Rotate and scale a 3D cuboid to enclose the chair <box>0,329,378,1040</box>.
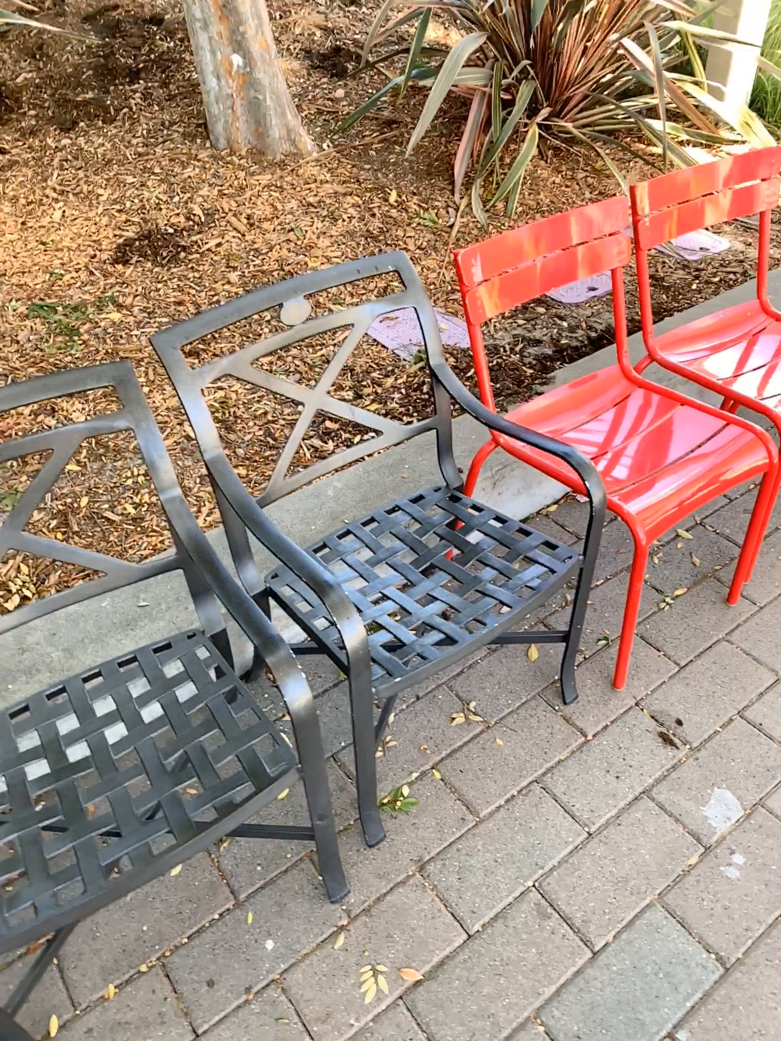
[{"bbox_3d":[-0.493,0.285,1.272,0.620,0.815,0.694,-26,45,-25],"label":"chair"}]

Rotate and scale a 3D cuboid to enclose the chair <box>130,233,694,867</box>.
[{"bbox_3d":[0.020,0.020,1.550,0.620,0.815,0.694,-26,45,-25],"label":"chair"}]

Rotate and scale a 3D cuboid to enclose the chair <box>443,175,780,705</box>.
[{"bbox_3d":[0.562,-0.206,1.783,0.620,0.815,0.644,-26,45,-25],"label":"chair"}]
